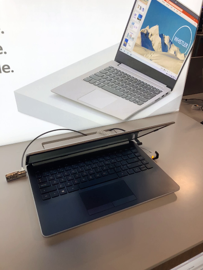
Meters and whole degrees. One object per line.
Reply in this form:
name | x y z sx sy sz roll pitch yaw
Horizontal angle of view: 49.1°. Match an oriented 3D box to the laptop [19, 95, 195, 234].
laptop | -0.007 0.035 0.510 0.302 0.155 0.226 -12 31 -20
